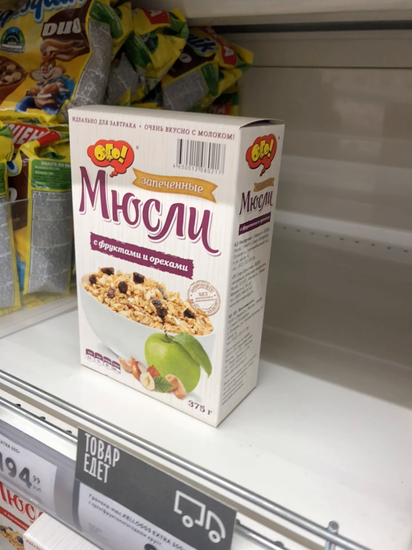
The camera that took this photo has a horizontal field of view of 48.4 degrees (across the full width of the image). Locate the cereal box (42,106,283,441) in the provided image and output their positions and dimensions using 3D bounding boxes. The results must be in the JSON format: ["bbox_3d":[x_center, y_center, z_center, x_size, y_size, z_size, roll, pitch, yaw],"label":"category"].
[{"bbox_3d":[-0.034,-0.011,0.328,0.140,0.199,0.070,15,24,29],"label":"cereal box"}]
